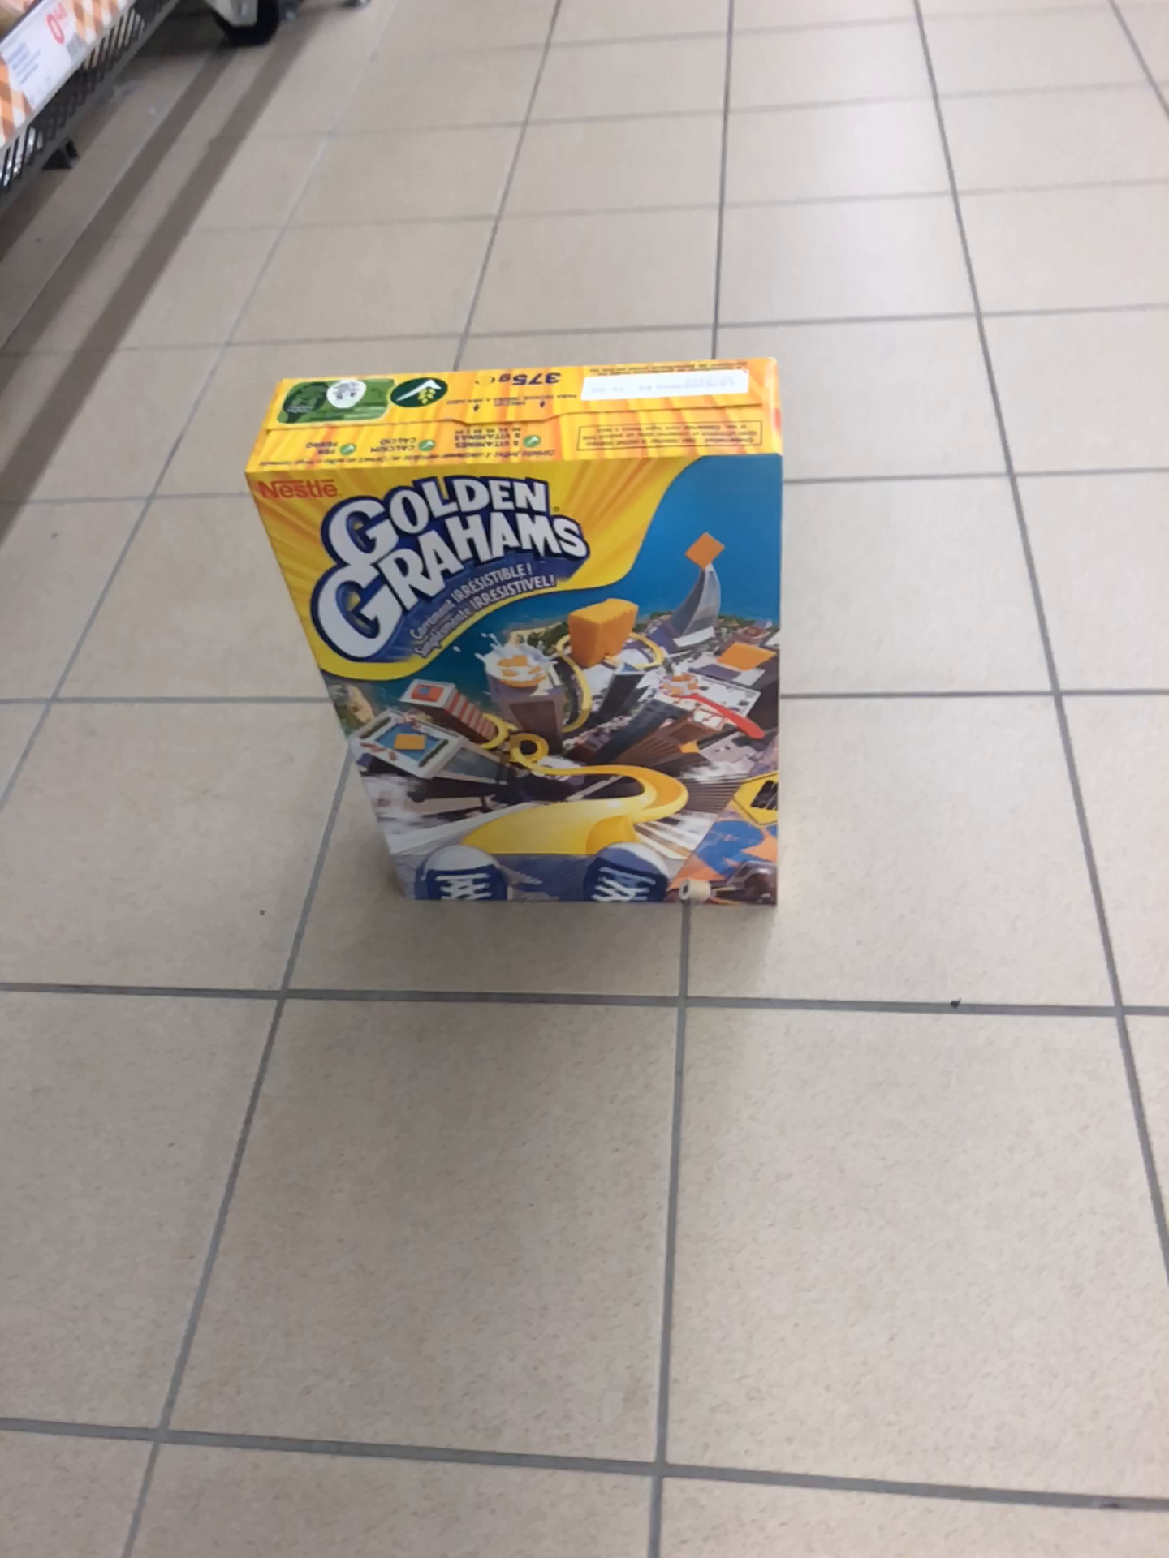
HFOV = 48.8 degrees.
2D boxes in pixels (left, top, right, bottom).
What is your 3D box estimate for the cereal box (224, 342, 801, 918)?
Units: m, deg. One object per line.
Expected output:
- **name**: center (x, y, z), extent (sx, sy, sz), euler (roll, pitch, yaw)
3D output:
- **cereal box**: center (-0.012, -0.046, 0.565), extent (0.200, 0.268, 0.070), euler (-1, 49, 6)
